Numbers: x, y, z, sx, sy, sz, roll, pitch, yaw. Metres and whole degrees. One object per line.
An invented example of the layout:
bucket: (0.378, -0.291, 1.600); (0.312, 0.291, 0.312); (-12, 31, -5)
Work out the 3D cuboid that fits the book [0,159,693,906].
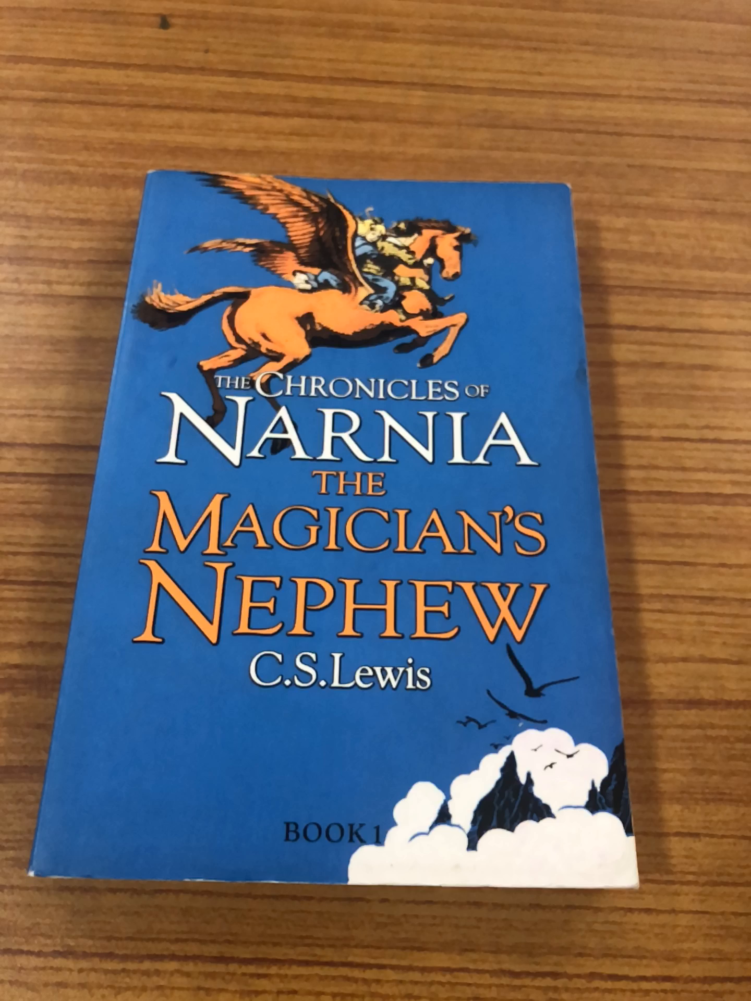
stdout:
book: (-0.006, -0.002, 0.219); (0.140, 0.030, 0.190); (2, 66, -2)
